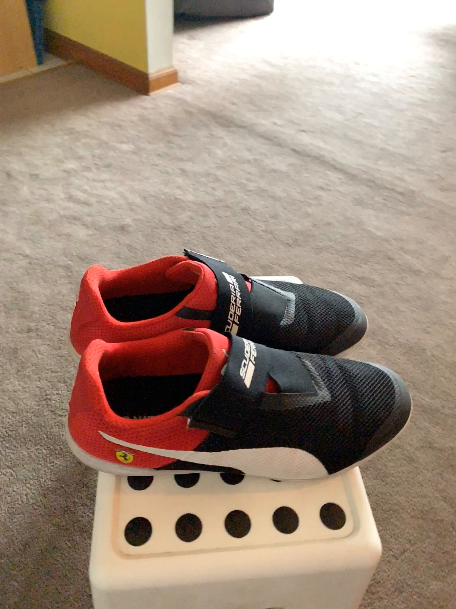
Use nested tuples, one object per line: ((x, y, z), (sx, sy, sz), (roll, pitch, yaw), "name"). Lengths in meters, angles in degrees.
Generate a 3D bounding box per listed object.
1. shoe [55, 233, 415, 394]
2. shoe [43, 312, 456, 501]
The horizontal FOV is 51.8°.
((0.004, 0.005, 0.459), (0.300, 0.099, 0.111), (-2, 46, -8), "shoe")
((0.019, 0.081, 0.395), (0.300, 0.099, 0.101), (-2, 46, -8), "shoe")
